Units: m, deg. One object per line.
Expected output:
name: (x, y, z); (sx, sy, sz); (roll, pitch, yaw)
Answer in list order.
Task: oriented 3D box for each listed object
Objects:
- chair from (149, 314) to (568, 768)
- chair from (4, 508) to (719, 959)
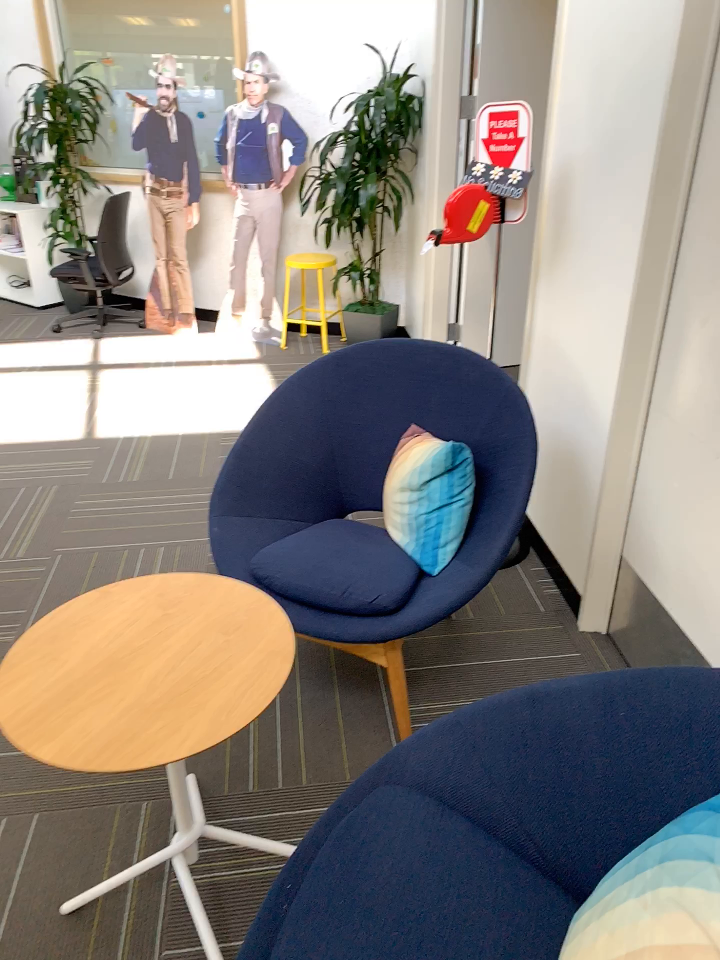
chair: (0.036, 0.082, 2.131); (0.792, 0.835, 0.843); (15, 31, 27)
chair: (0.266, 0.762, 1.043); (0.983, 0.944, 0.832); (17, 32, 30)
